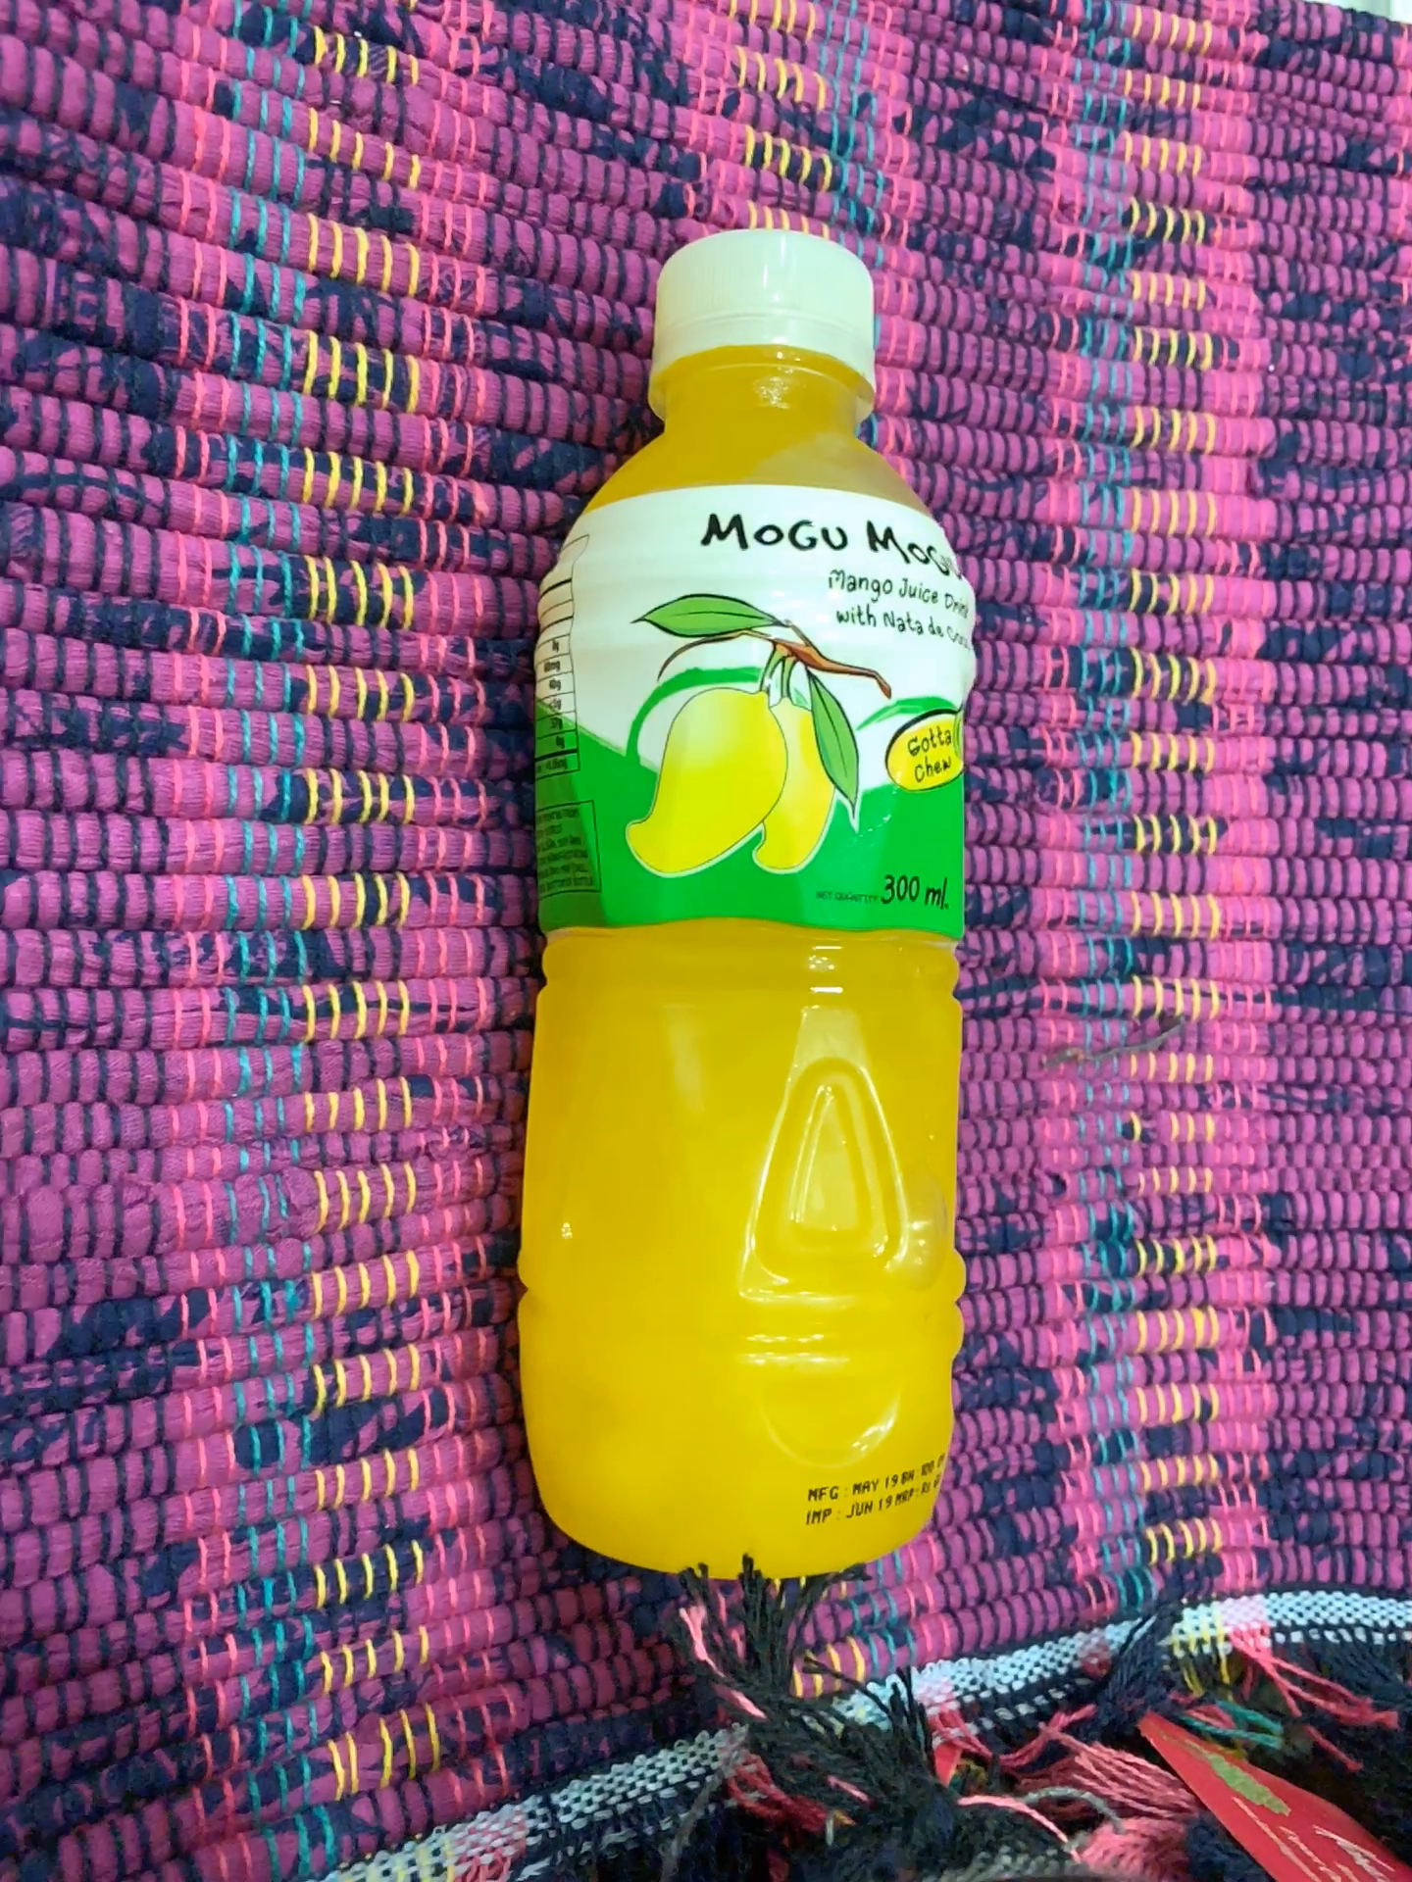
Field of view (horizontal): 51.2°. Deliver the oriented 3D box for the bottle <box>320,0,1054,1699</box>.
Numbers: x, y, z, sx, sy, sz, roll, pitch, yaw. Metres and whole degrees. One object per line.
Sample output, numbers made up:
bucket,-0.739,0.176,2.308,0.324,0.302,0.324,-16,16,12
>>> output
bottle,-0.004,-0.014,0.170,0.060,0.060,0.160,2,87,-34
